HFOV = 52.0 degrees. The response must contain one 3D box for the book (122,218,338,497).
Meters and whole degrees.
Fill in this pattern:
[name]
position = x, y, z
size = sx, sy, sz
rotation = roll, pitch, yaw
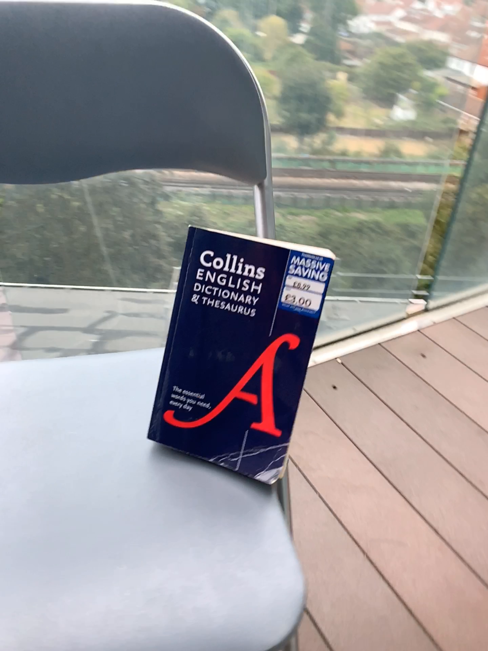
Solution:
[book]
position = -0.013, 0.022, 0.436
size = 0.140, 0.199, 0.060
rotation = 14, 9, 16
